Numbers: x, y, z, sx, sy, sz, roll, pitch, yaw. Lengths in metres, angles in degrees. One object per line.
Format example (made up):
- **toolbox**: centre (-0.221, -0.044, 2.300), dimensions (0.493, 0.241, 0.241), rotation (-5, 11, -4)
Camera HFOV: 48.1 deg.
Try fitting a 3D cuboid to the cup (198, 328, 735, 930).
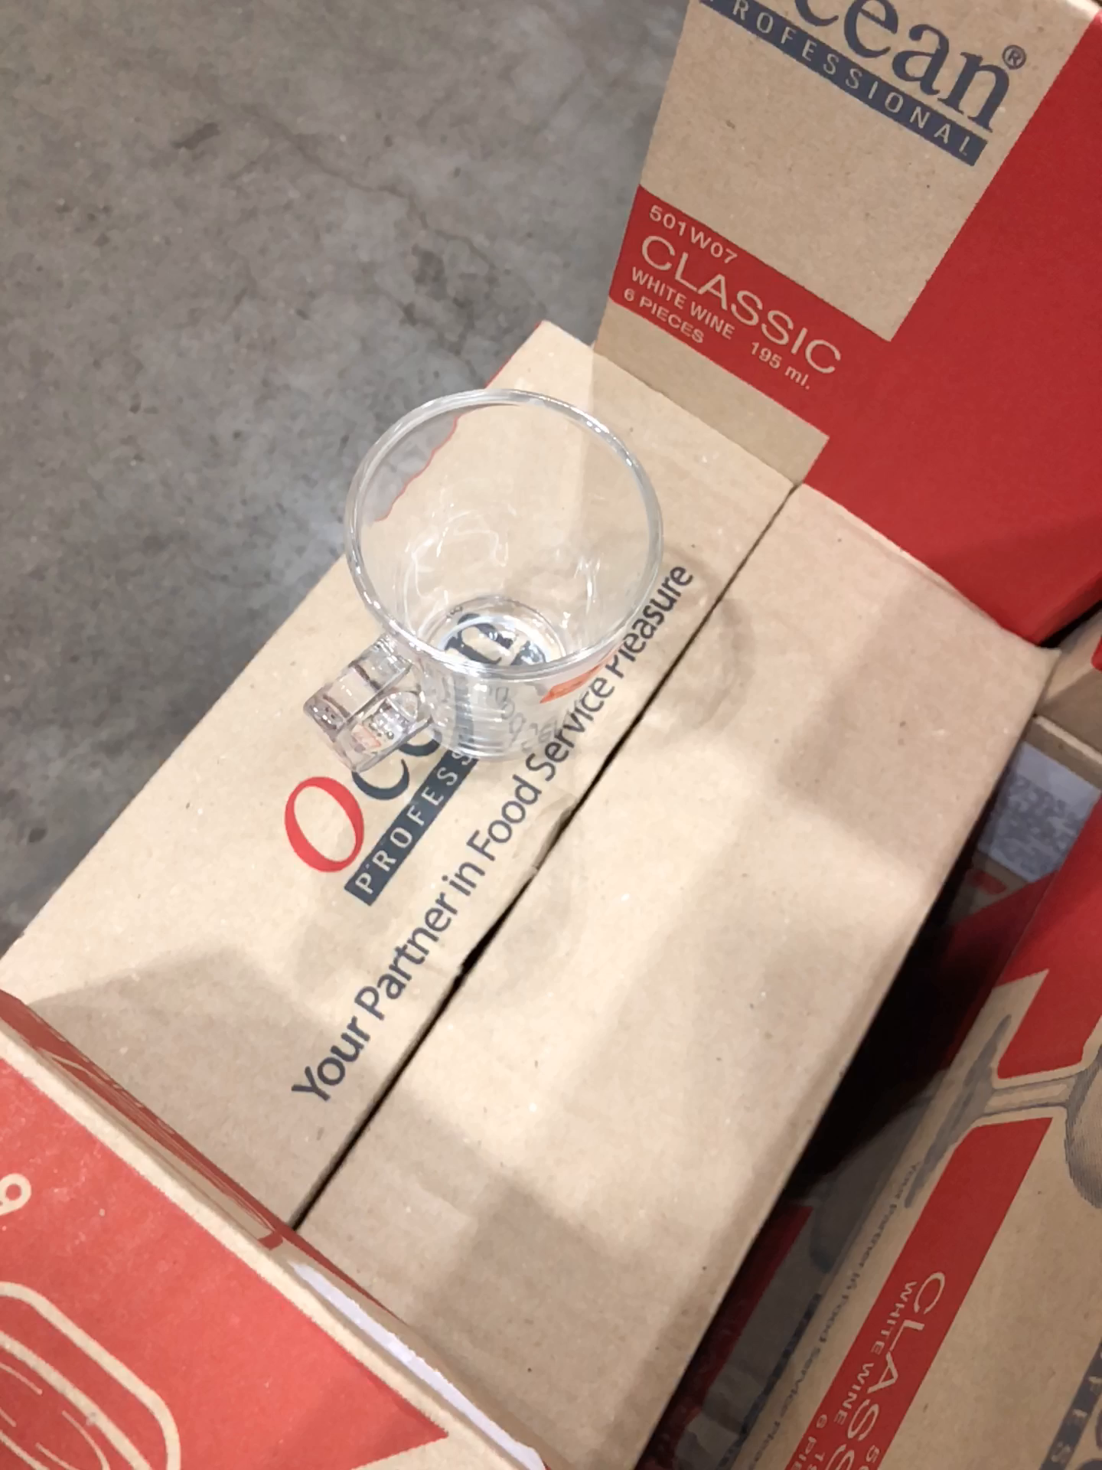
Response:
- **cup**: centre (-0.019, -0.015, 0.258), dimensions (0.060, 0.100, 0.070), rotation (43, 70, 9)
